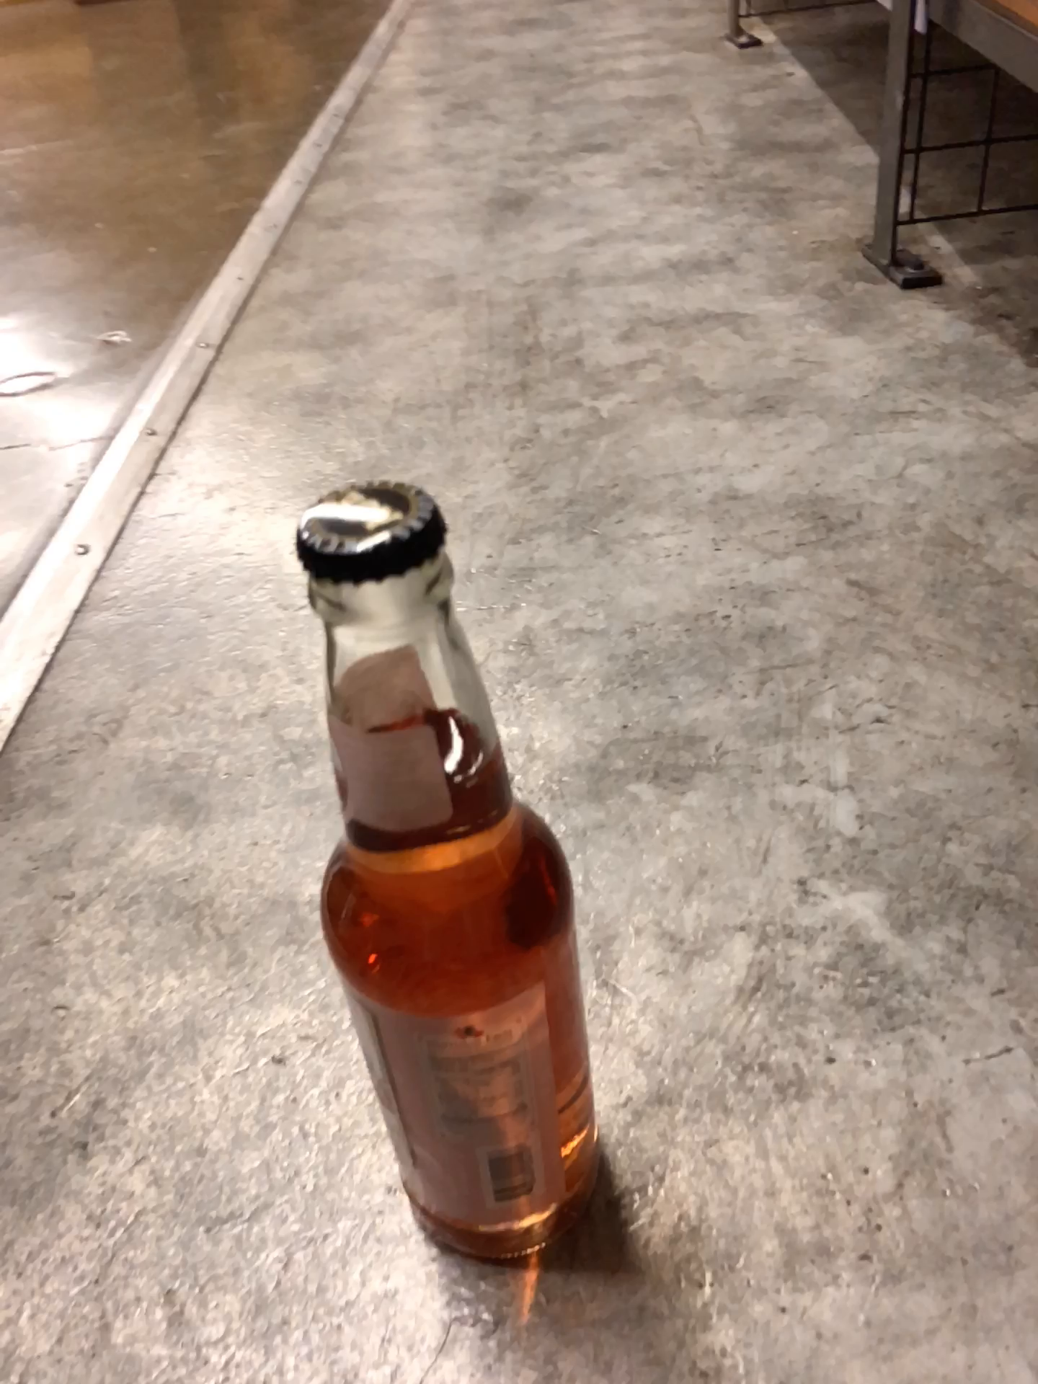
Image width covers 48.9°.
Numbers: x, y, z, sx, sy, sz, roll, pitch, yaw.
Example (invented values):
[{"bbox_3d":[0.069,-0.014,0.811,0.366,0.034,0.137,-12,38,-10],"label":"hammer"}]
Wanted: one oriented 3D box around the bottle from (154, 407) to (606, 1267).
[{"bbox_3d":[-0.019,0.052,0.273,0.060,0.221,0.062,-5,38,4],"label":"bottle"}]
